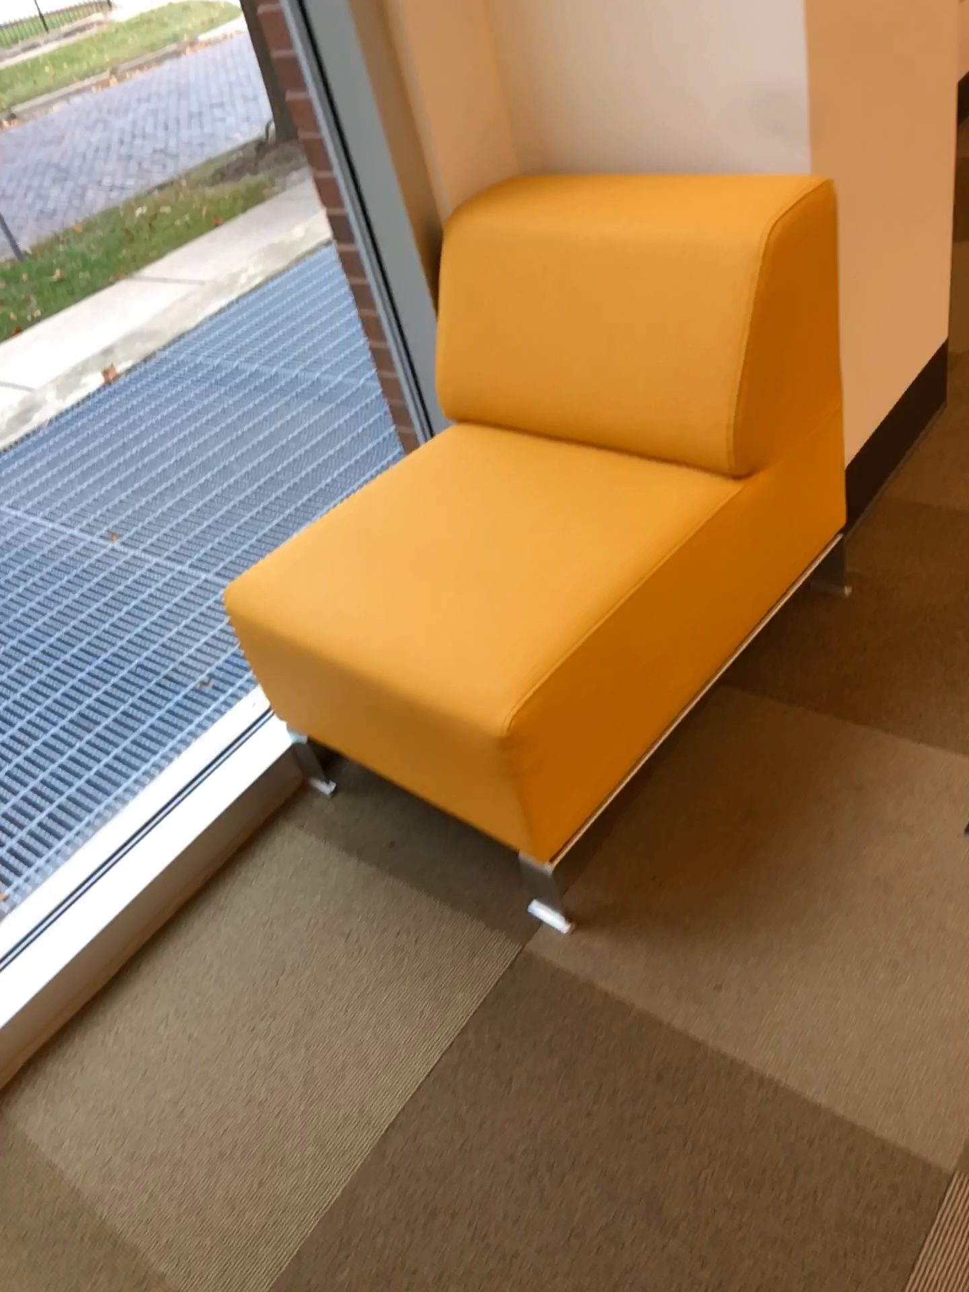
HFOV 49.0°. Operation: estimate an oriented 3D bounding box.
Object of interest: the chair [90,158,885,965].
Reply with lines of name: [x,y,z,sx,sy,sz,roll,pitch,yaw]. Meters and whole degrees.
chair: [0.097,-0.211,1.705,0.674,0.751,0.946,21,52,39]
